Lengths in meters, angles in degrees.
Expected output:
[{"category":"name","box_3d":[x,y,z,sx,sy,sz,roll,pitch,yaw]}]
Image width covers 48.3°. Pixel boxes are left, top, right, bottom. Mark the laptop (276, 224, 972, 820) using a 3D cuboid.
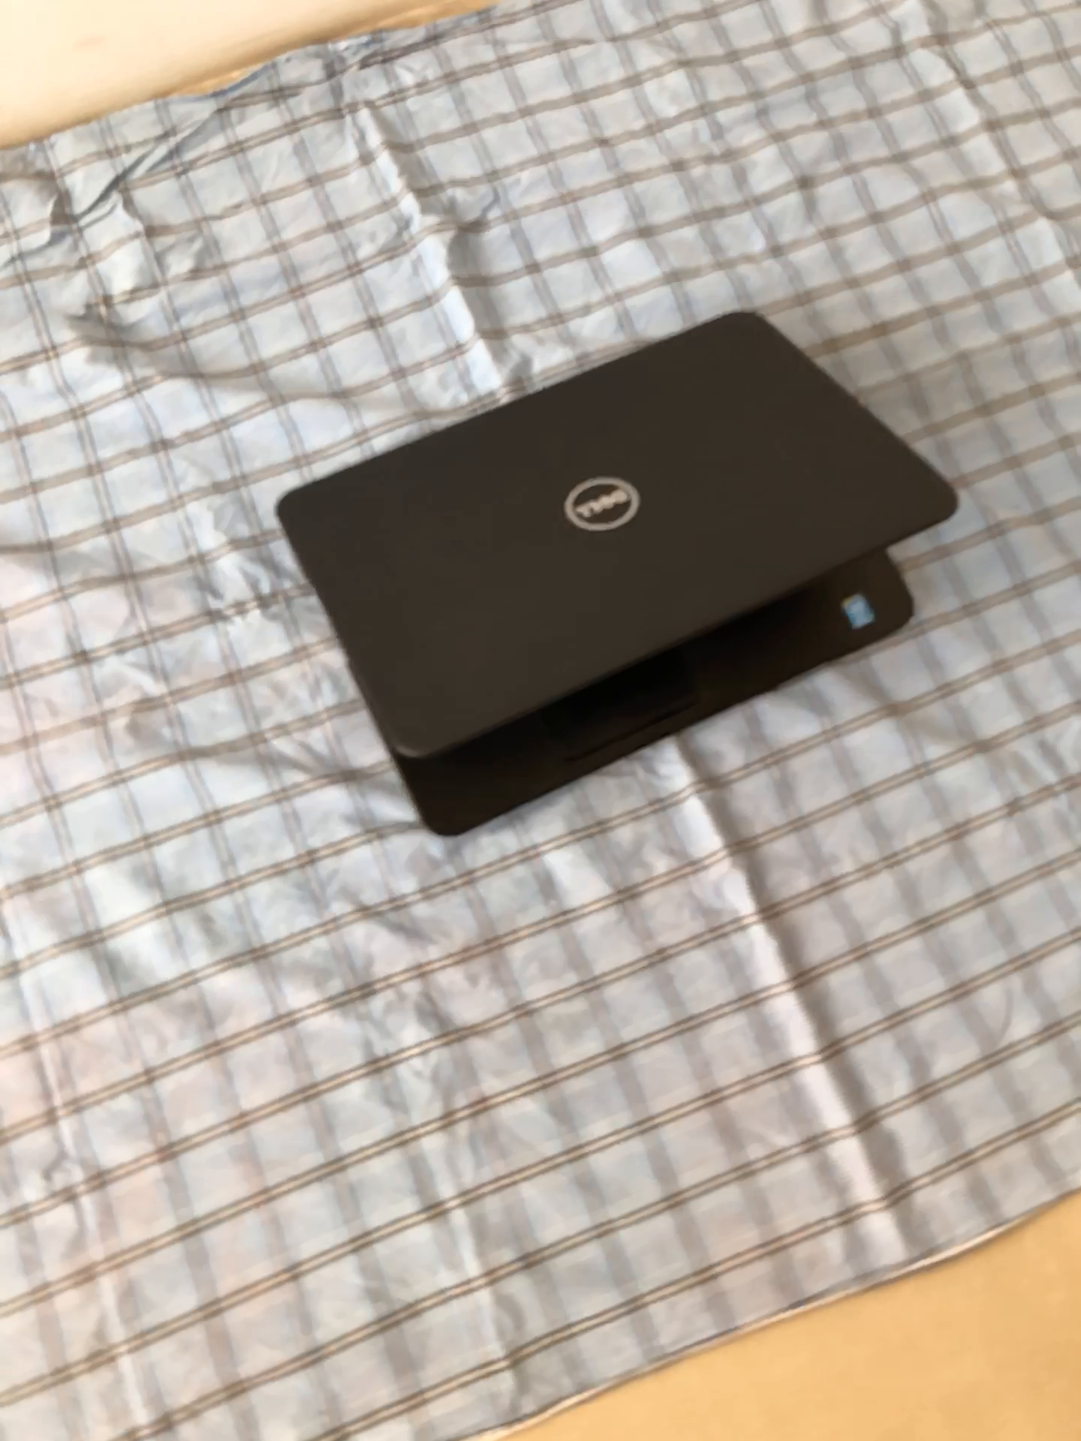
[{"category":"laptop","box_3d":[0.049,-0.125,0.748,0.351,0.099,0.223,-25,79,-11]}]
